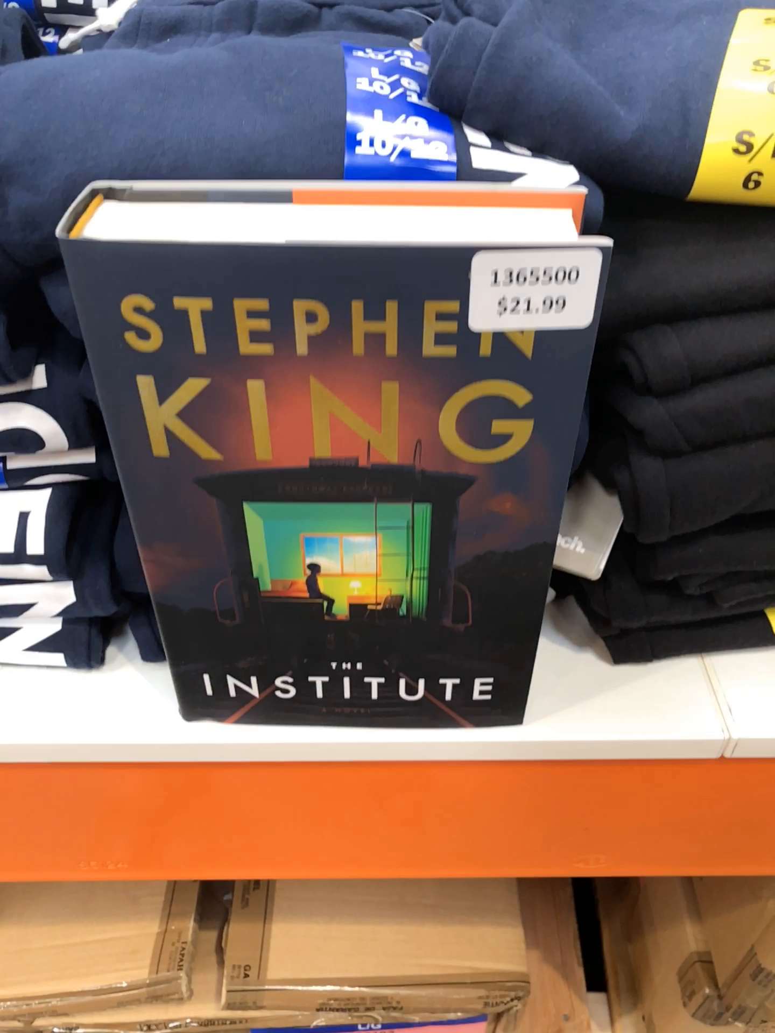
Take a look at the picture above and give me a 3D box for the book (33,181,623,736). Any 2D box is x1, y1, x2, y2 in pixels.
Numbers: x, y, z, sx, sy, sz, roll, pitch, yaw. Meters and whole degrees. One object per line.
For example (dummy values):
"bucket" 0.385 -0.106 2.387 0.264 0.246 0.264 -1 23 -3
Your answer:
"book" -0.017 -0.005 0.336 0.167 0.229 0.050 1 40 1
